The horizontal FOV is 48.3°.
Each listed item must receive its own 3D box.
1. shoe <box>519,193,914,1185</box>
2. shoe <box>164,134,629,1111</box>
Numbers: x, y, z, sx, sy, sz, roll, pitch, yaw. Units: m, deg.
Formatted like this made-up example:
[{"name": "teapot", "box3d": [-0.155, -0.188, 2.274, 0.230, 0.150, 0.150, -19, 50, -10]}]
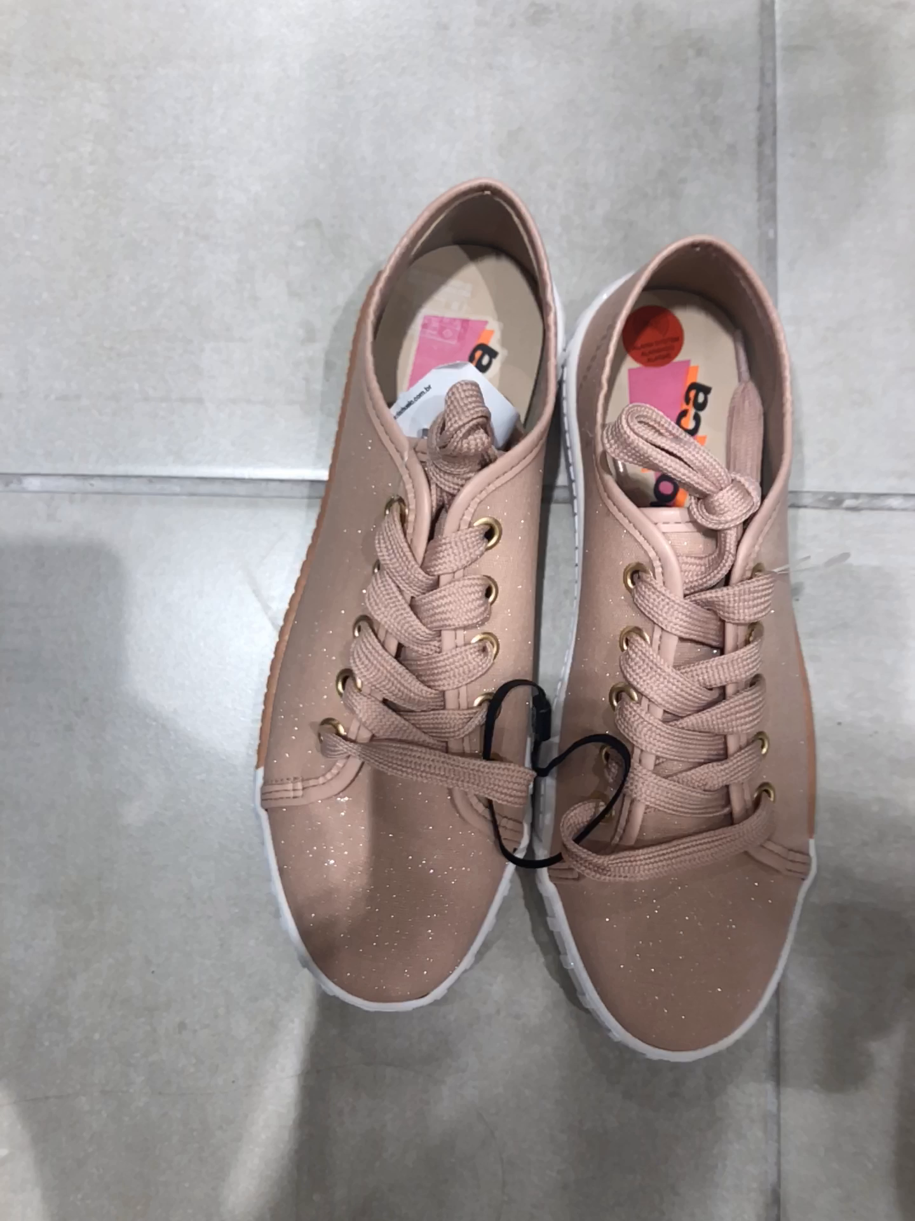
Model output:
[{"name": "shoe", "box3d": [0.067, 0.019, 0.299, 0.090, 0.100, 0.240, 0, 86, -1]}, {"name": "shoe", "box3d": [-0.014, 0.003, 0.310, 0.090, 0.100, 0.240, 7, 86, 0]}]
